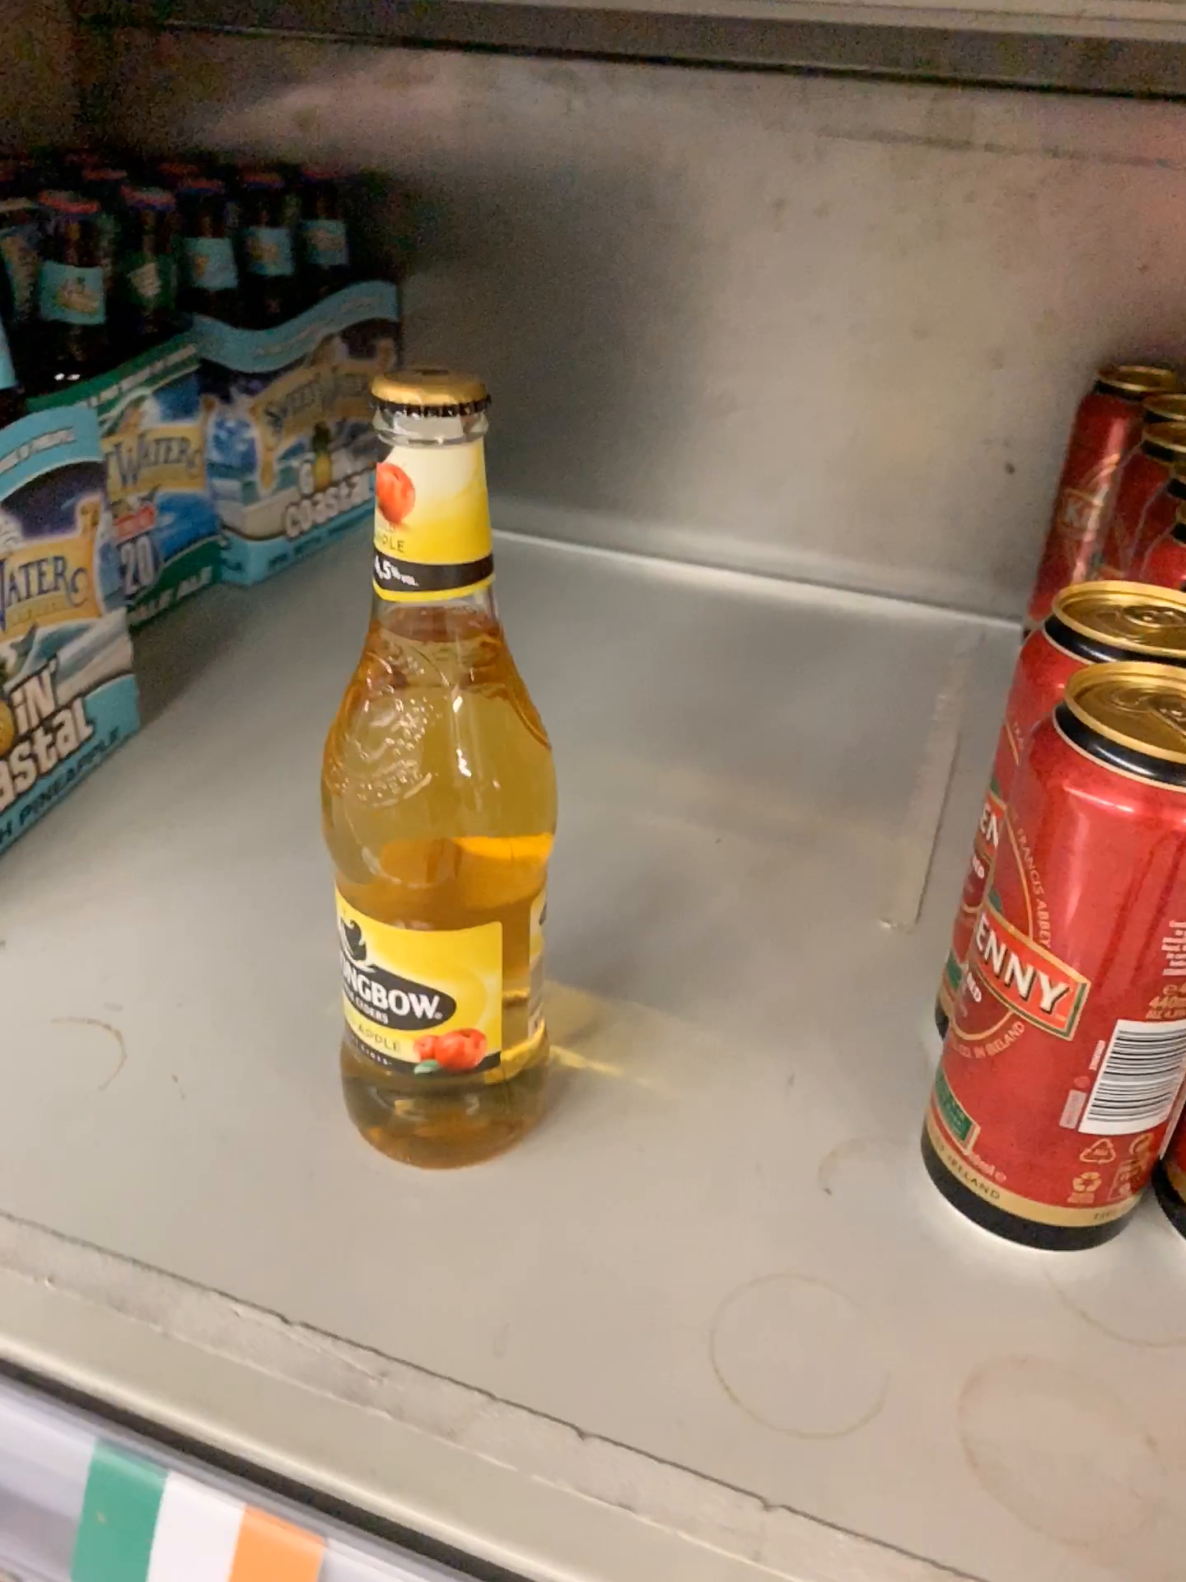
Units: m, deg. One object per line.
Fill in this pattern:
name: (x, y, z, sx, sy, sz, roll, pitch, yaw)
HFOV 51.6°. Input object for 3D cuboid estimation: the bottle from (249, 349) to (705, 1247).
bottle: (-0.038, 0.005, 0.360, 0.080, 0.239, 0.080, 4, 29, -2)
